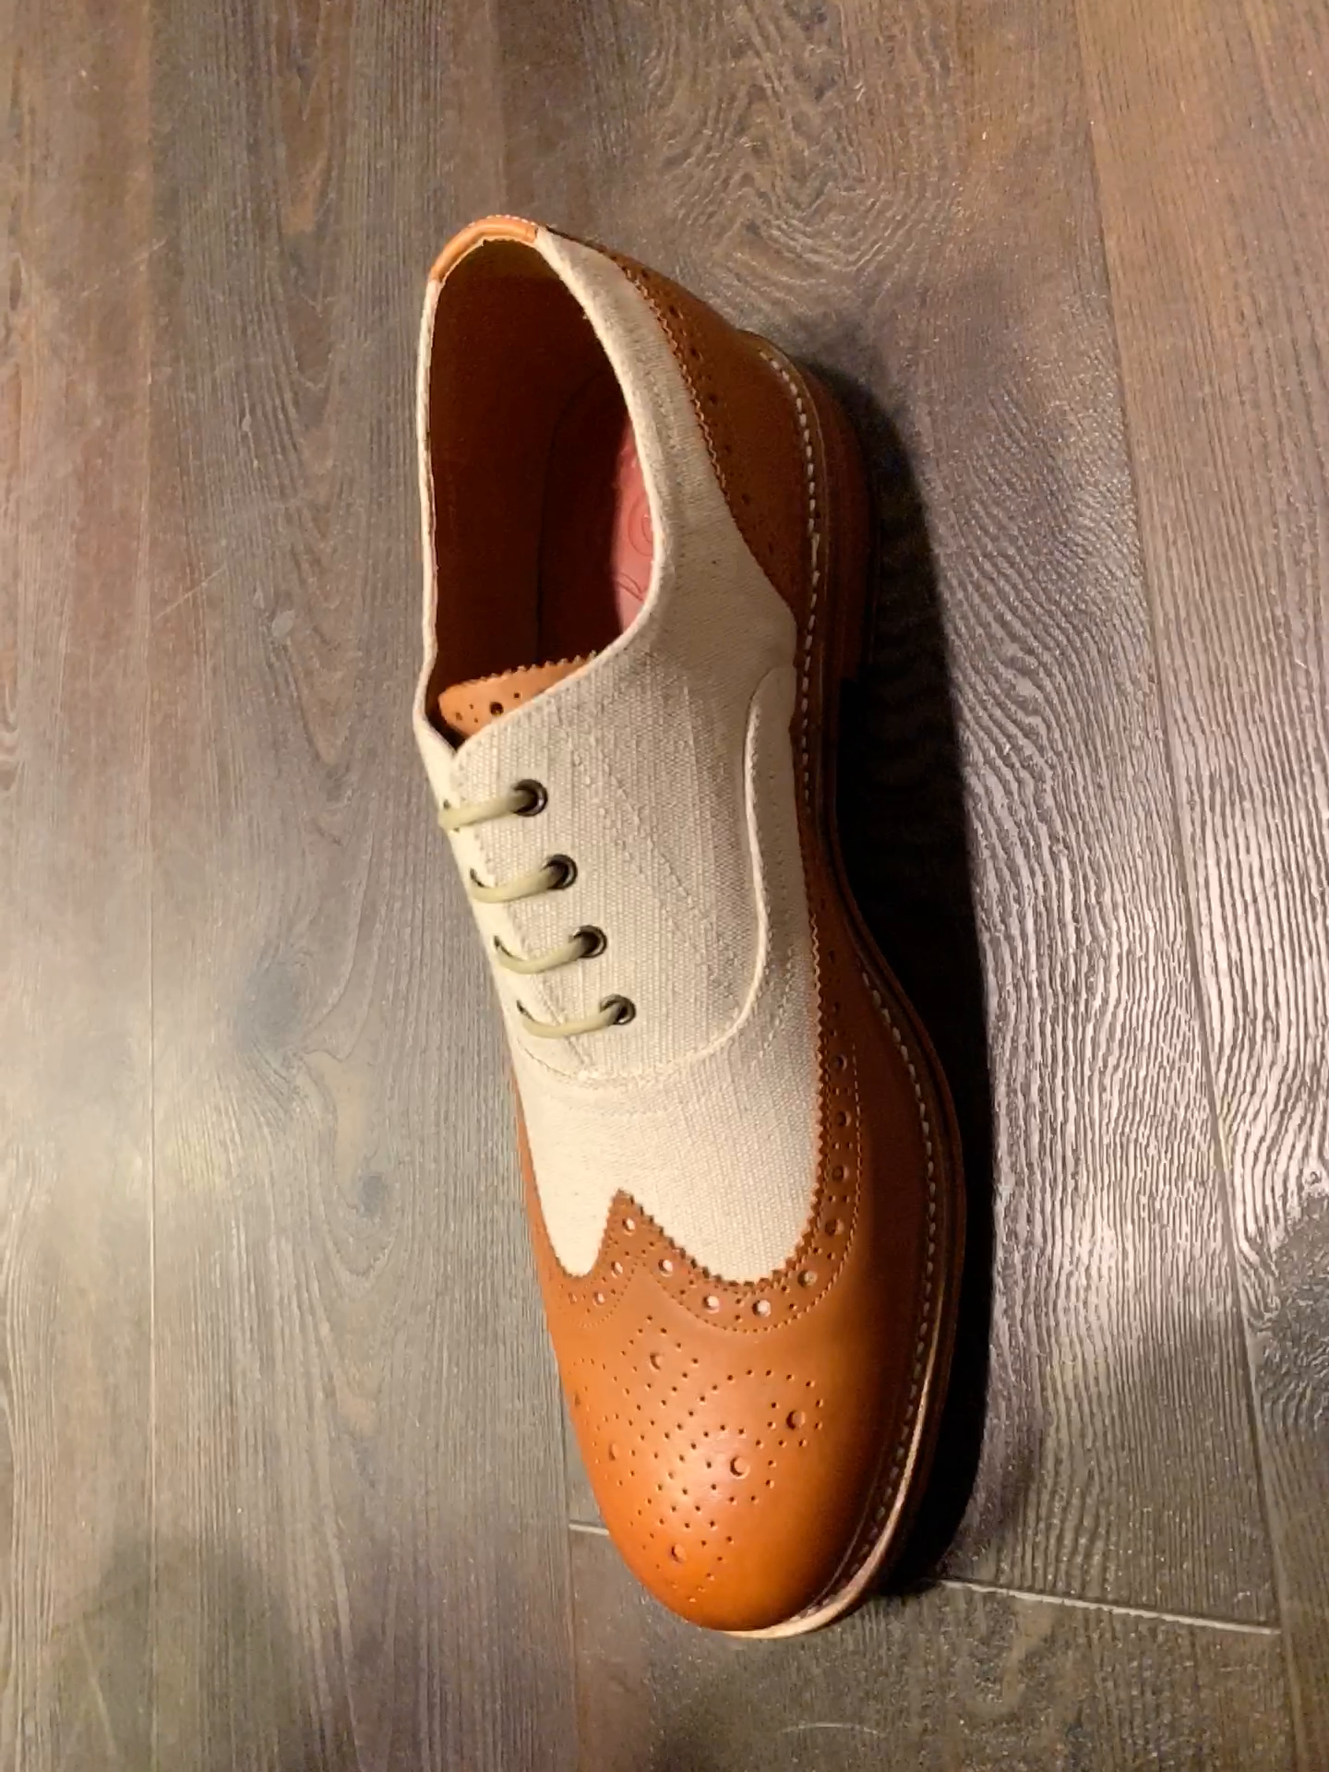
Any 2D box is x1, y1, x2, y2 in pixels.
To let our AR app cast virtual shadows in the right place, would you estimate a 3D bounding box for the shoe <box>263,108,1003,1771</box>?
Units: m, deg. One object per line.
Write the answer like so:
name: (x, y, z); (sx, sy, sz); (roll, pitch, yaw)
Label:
shoe: (-0.006, 0.013, 0.316); (0.110, 0.119, 0.300); (-7, 80, 34)
